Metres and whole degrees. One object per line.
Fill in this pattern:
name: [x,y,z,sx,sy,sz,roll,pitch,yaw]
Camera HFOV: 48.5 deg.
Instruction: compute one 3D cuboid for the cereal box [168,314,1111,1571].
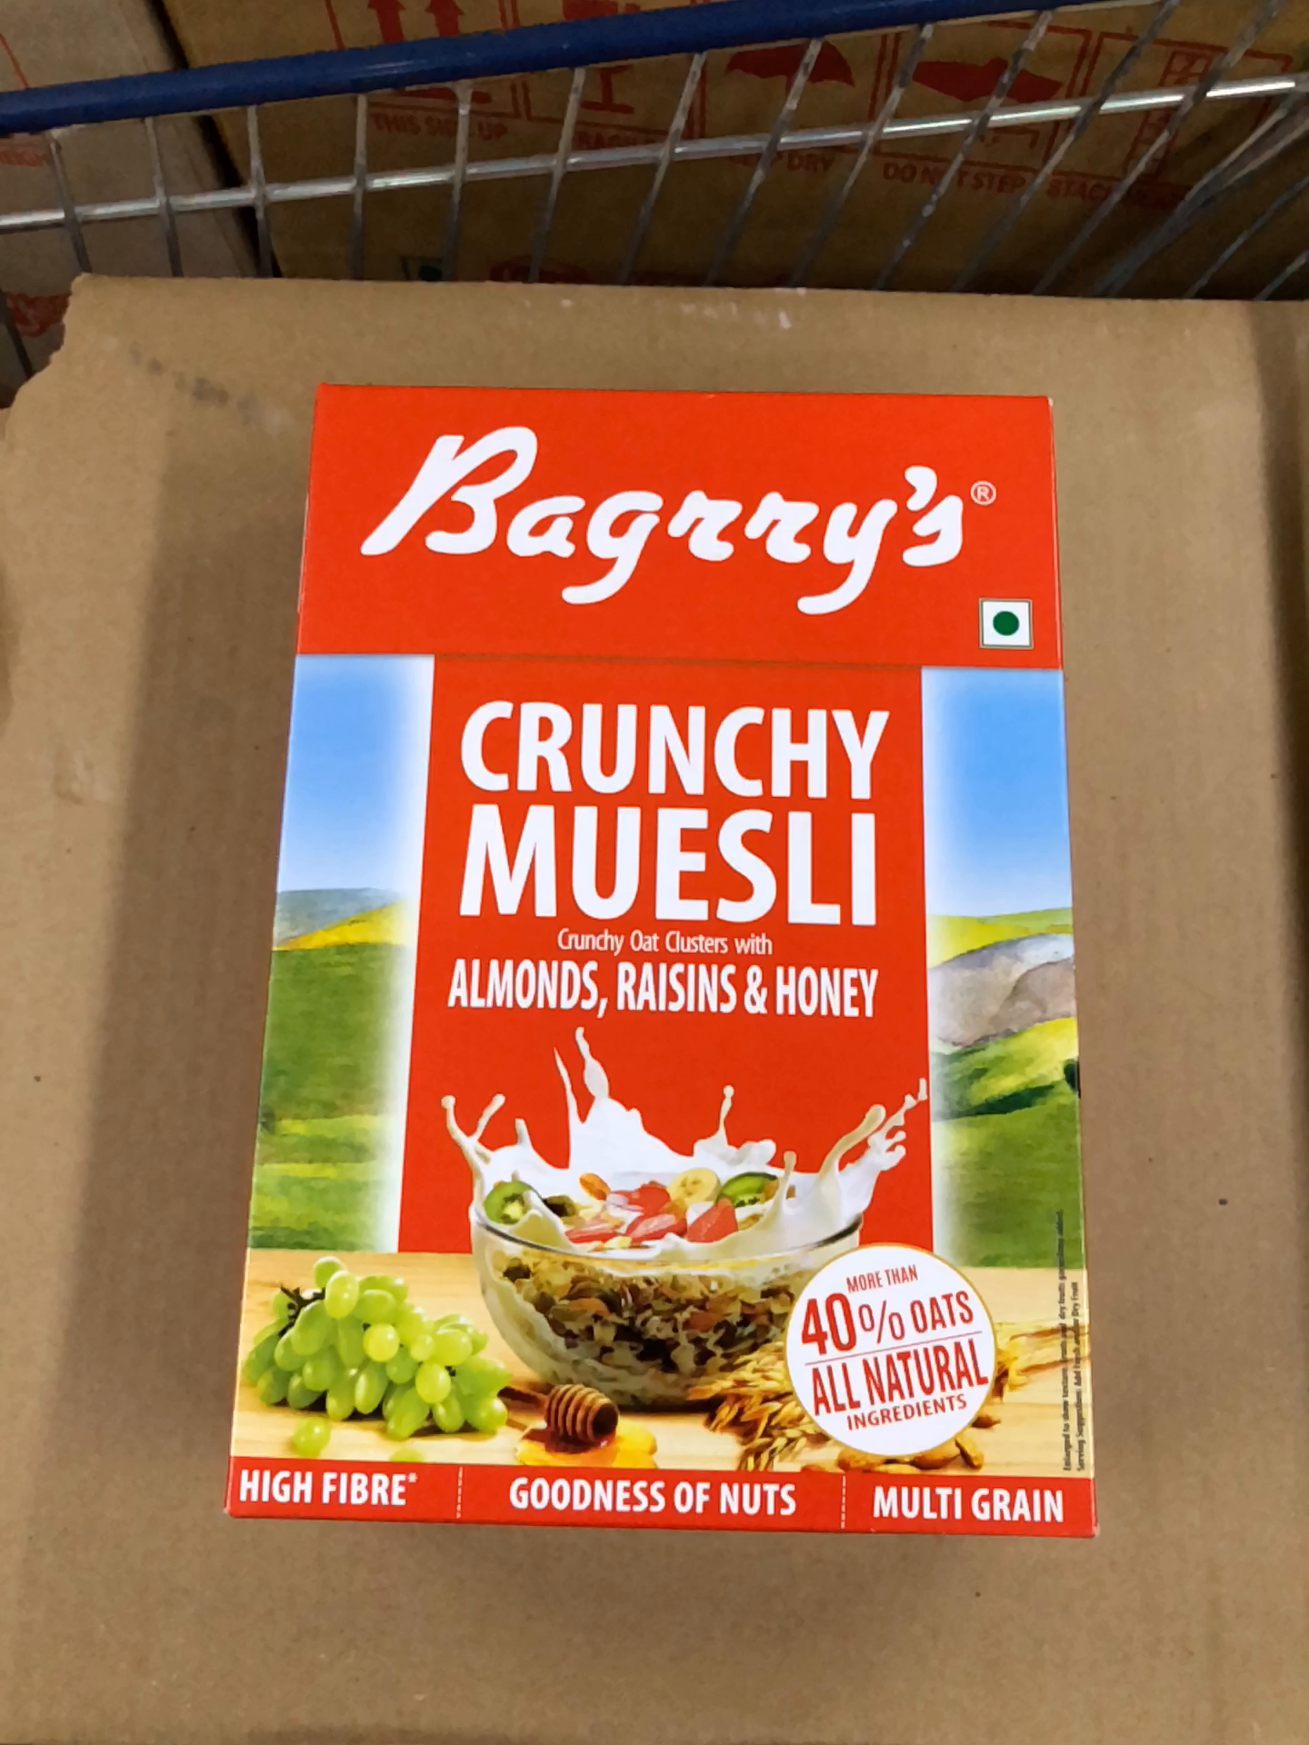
cereal box: [0.000,0.009,0.336,0.180,0.070,0.260,1,79,2]
